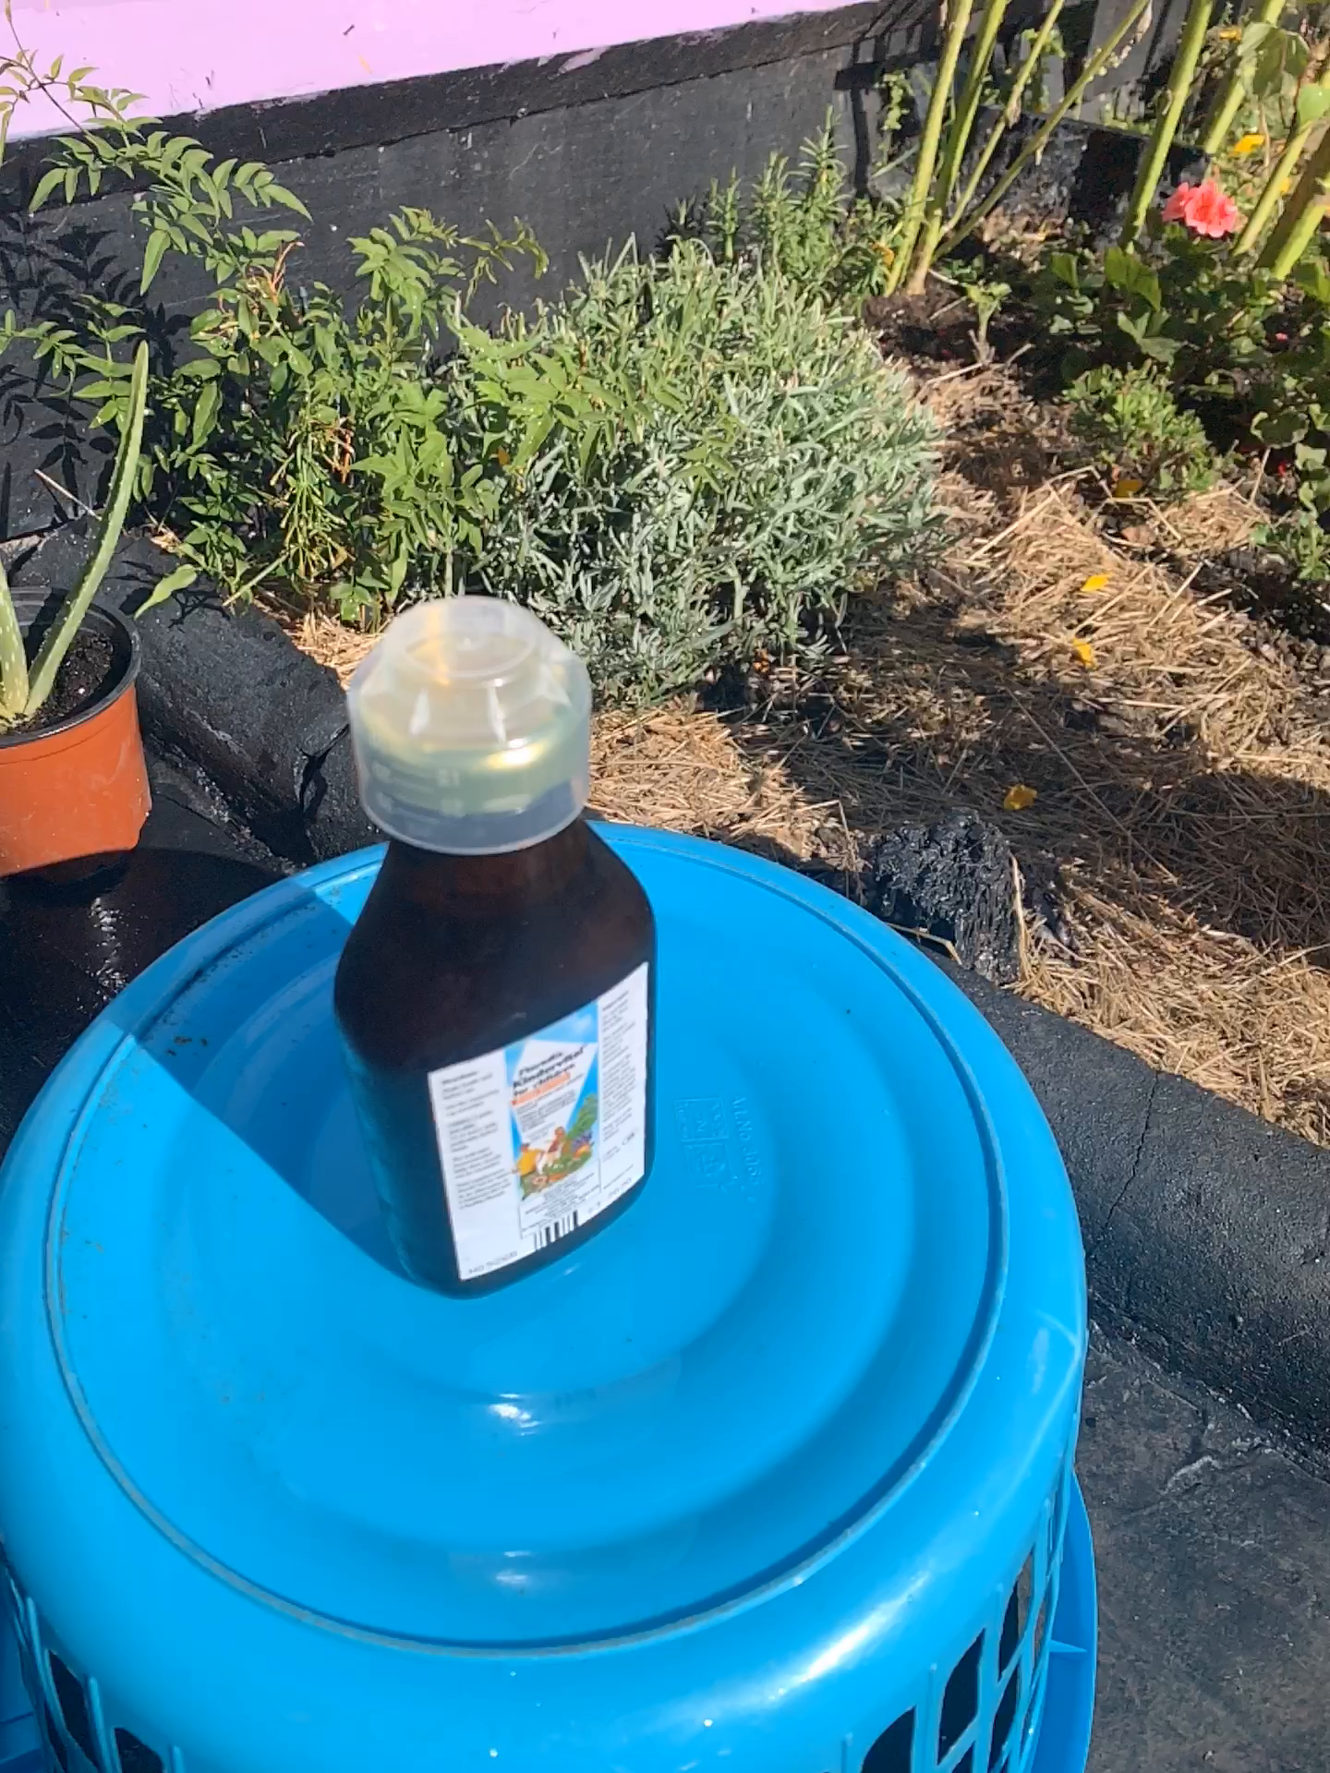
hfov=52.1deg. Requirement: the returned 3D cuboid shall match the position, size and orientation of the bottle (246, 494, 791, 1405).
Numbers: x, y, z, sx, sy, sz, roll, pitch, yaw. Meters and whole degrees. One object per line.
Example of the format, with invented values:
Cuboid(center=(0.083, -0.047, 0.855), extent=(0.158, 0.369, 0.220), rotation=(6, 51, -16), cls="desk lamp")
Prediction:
Cuboid(center=(-0.032, 0.024, 0.302), extent=(0.080, 0.198, 0.050), rotation=(-23, 48, -29), cls="bottle")
